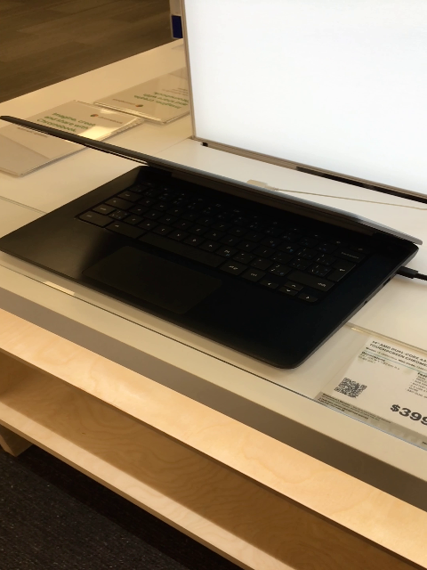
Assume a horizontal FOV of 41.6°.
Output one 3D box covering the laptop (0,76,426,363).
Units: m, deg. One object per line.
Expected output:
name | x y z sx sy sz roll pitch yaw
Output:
laptop | -0.012 -0.082 0.531 0.338 0.121 0.207 23 49 26
